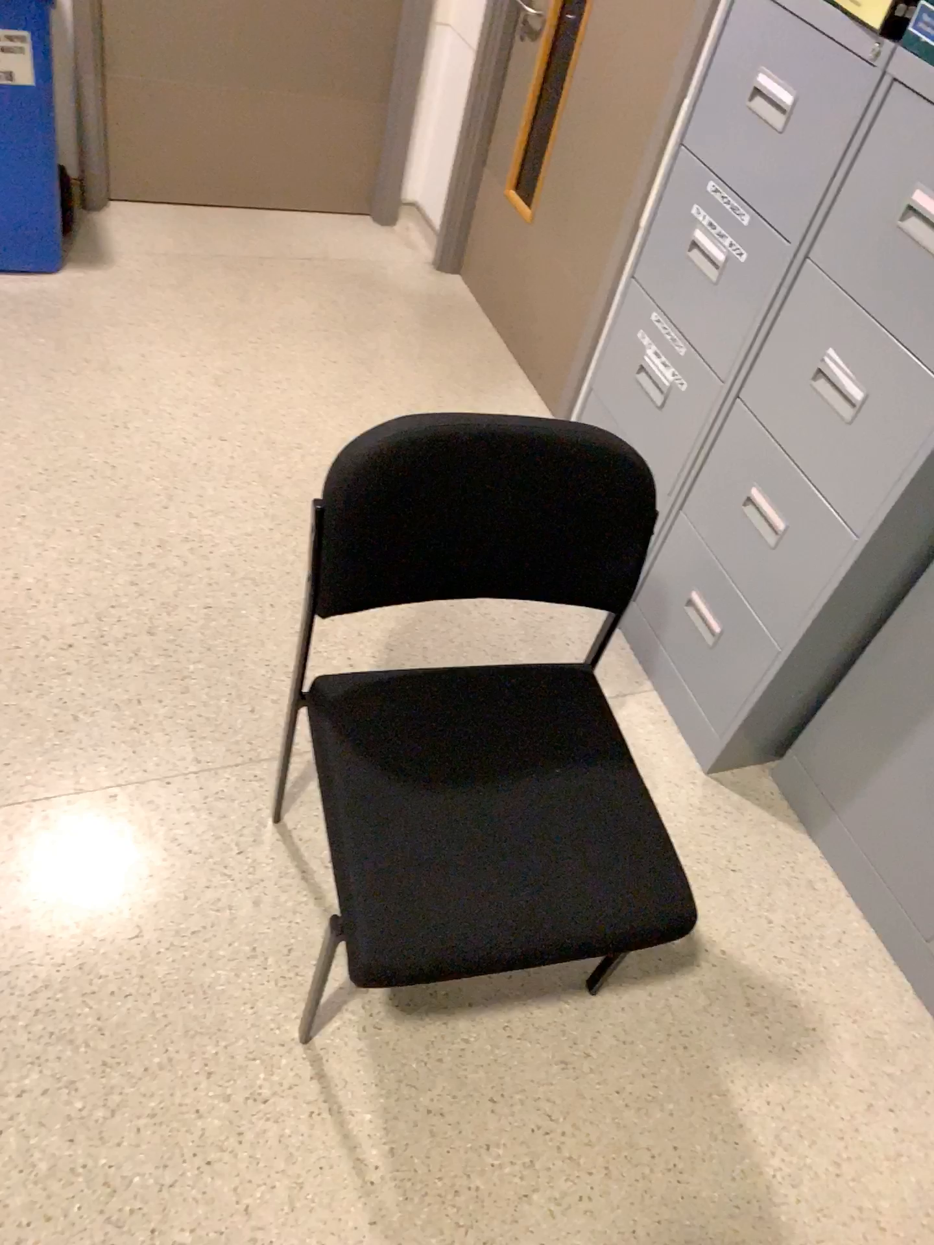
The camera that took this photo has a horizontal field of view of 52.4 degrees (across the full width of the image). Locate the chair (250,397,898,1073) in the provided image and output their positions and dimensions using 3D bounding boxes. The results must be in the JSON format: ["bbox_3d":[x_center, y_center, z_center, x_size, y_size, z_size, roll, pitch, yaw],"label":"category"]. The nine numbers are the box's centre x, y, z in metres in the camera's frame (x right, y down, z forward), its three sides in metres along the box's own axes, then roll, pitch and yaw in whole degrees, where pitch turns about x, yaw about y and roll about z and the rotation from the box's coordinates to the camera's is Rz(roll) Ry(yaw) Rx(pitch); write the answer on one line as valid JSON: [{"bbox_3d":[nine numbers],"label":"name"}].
[{"bbox_3d":[0.036,0.192,1.463,0.631,0.832,0.585,-1,47,-19],"label":"chair"}]
